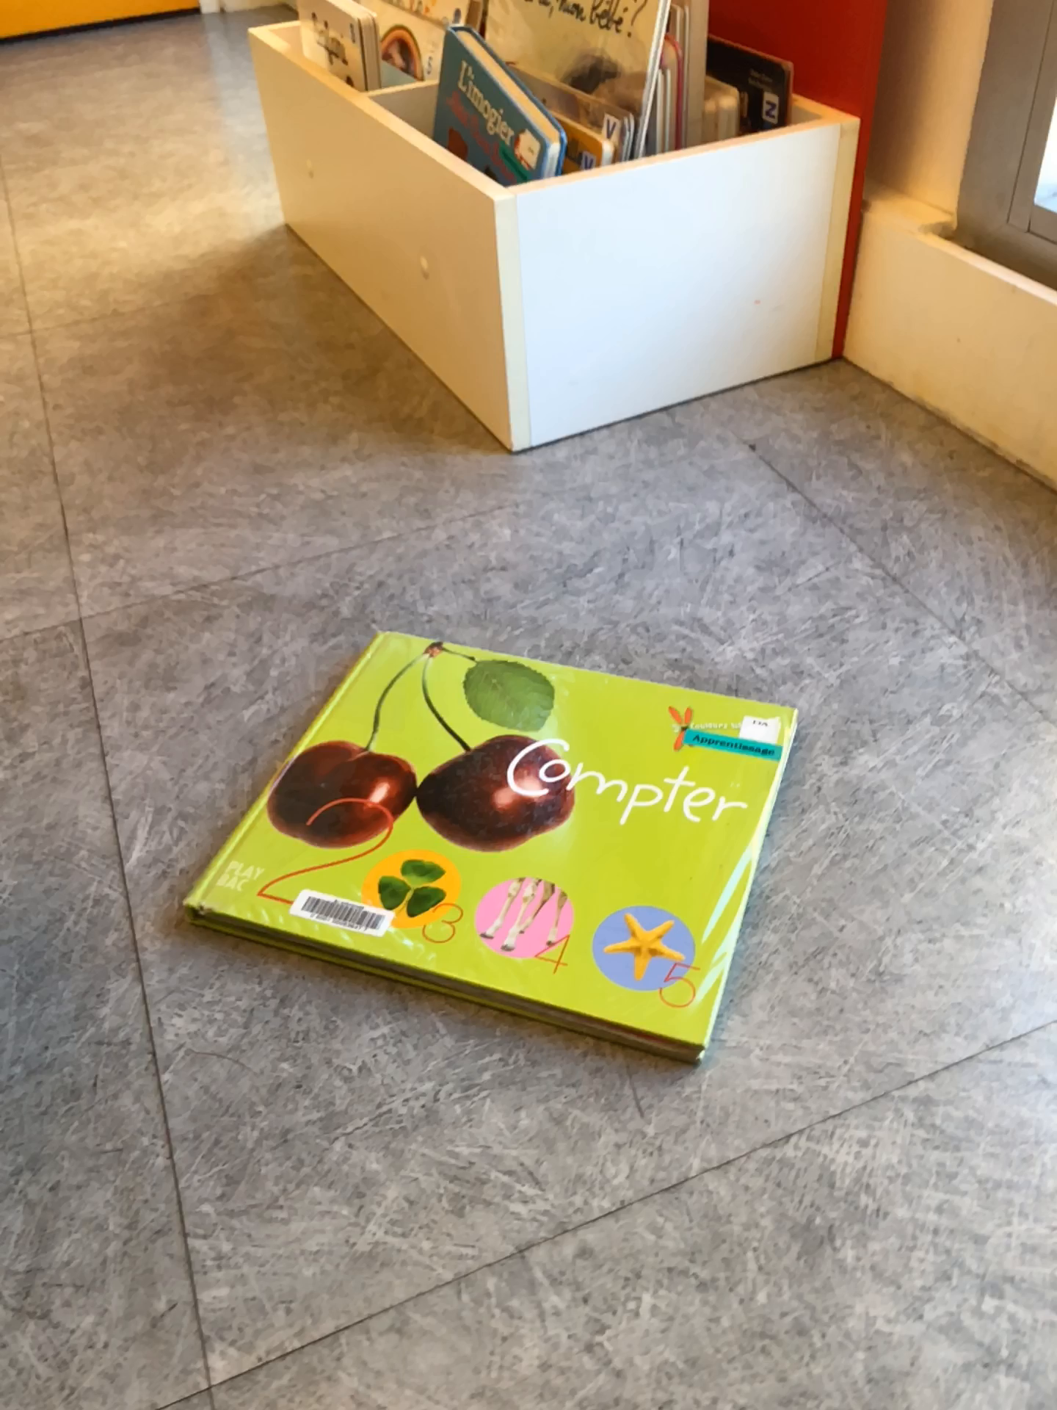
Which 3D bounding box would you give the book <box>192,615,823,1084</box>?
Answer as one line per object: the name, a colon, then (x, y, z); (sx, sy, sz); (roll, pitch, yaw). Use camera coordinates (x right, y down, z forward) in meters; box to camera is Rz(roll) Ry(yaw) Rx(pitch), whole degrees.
book: (0.000, 0.052, 0.591); (0.255, 0.021, 0.223); (11, 46, 17)
